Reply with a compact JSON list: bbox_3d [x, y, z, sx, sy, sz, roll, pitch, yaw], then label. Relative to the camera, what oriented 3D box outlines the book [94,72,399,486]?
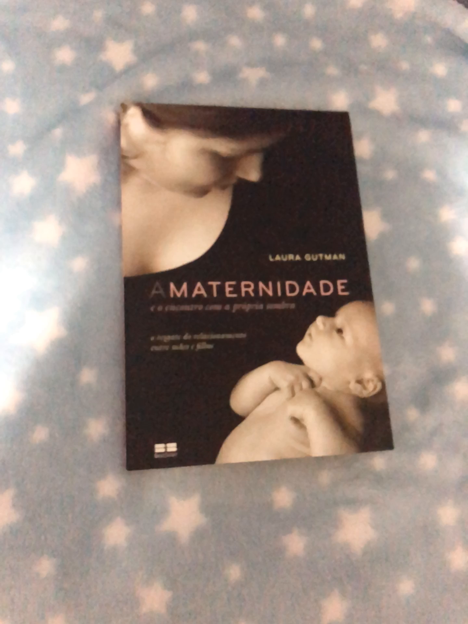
[{"bbox_3d":[0.000,-0.028,0.316,0.160,0.030,0.240,-1,74,-10],"label":"book"}]
